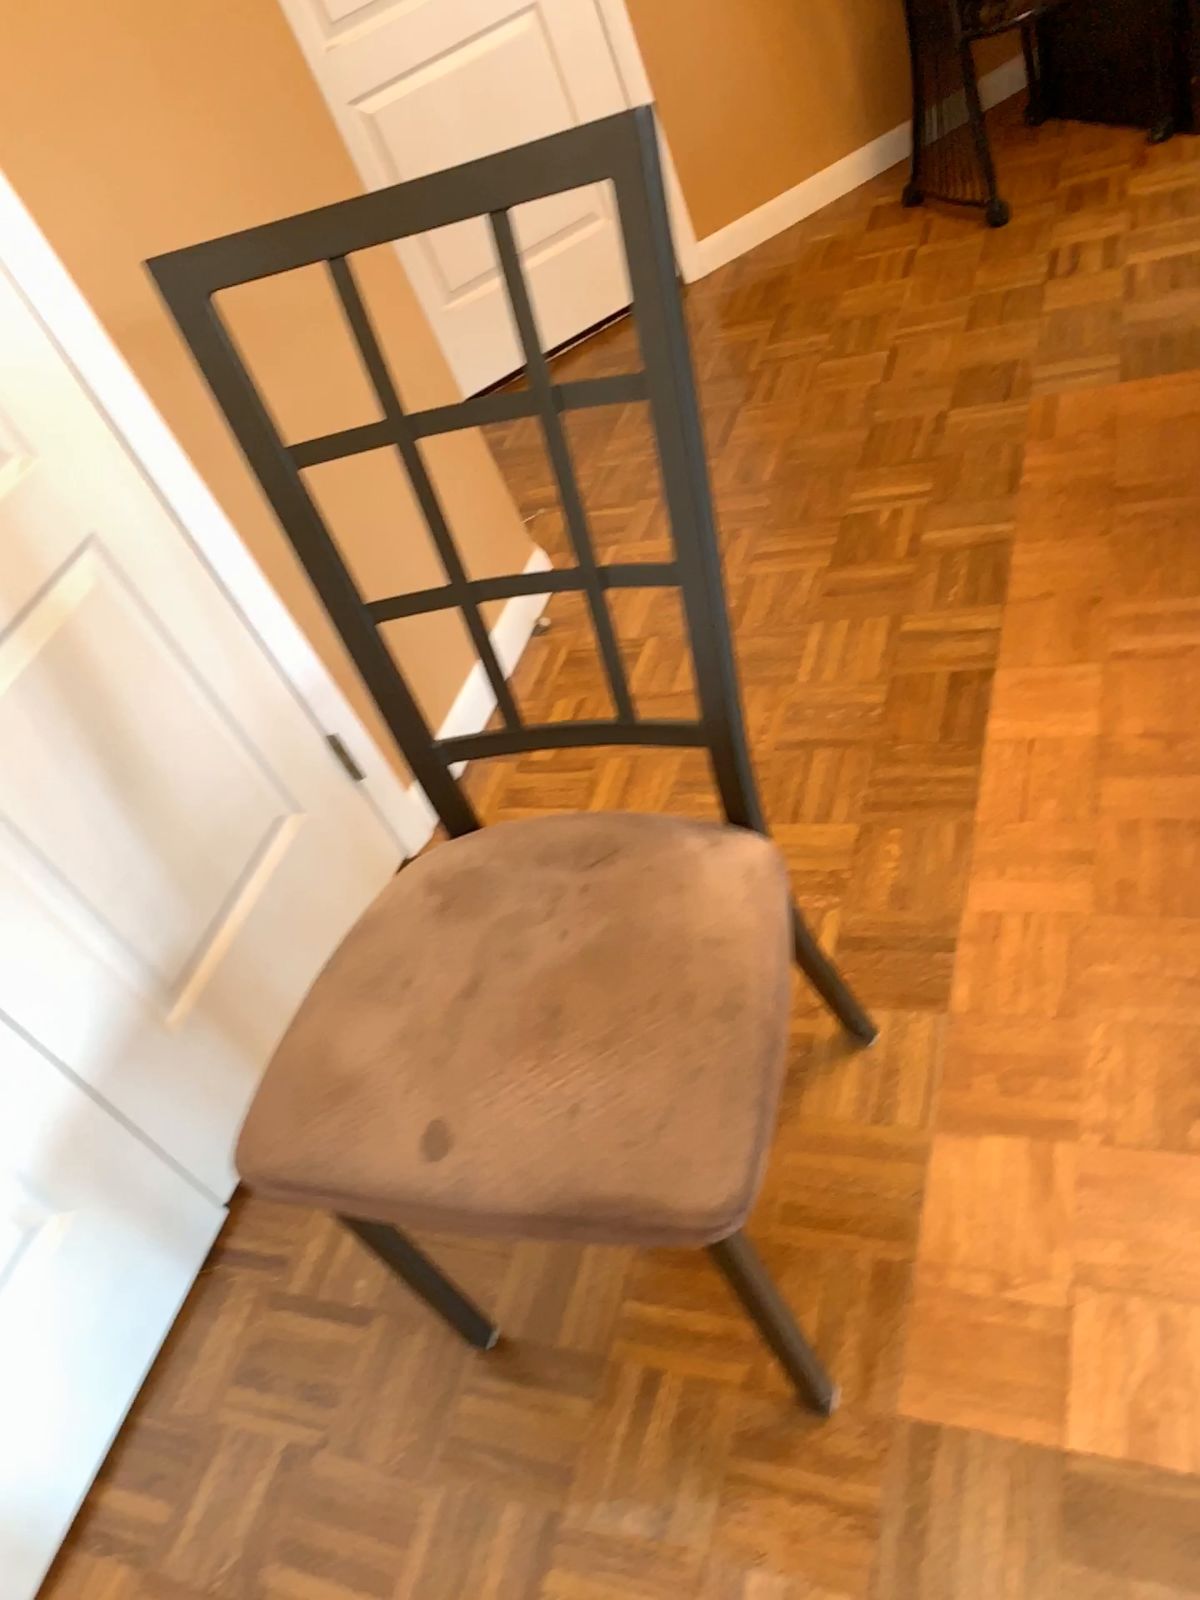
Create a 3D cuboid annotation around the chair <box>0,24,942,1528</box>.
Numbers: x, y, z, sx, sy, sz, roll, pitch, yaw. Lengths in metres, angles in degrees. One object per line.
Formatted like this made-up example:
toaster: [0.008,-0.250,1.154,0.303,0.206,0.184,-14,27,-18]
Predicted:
chair: [-0.080,0.049,1.045,0.511,0.985,0.622,-2,43,26]
